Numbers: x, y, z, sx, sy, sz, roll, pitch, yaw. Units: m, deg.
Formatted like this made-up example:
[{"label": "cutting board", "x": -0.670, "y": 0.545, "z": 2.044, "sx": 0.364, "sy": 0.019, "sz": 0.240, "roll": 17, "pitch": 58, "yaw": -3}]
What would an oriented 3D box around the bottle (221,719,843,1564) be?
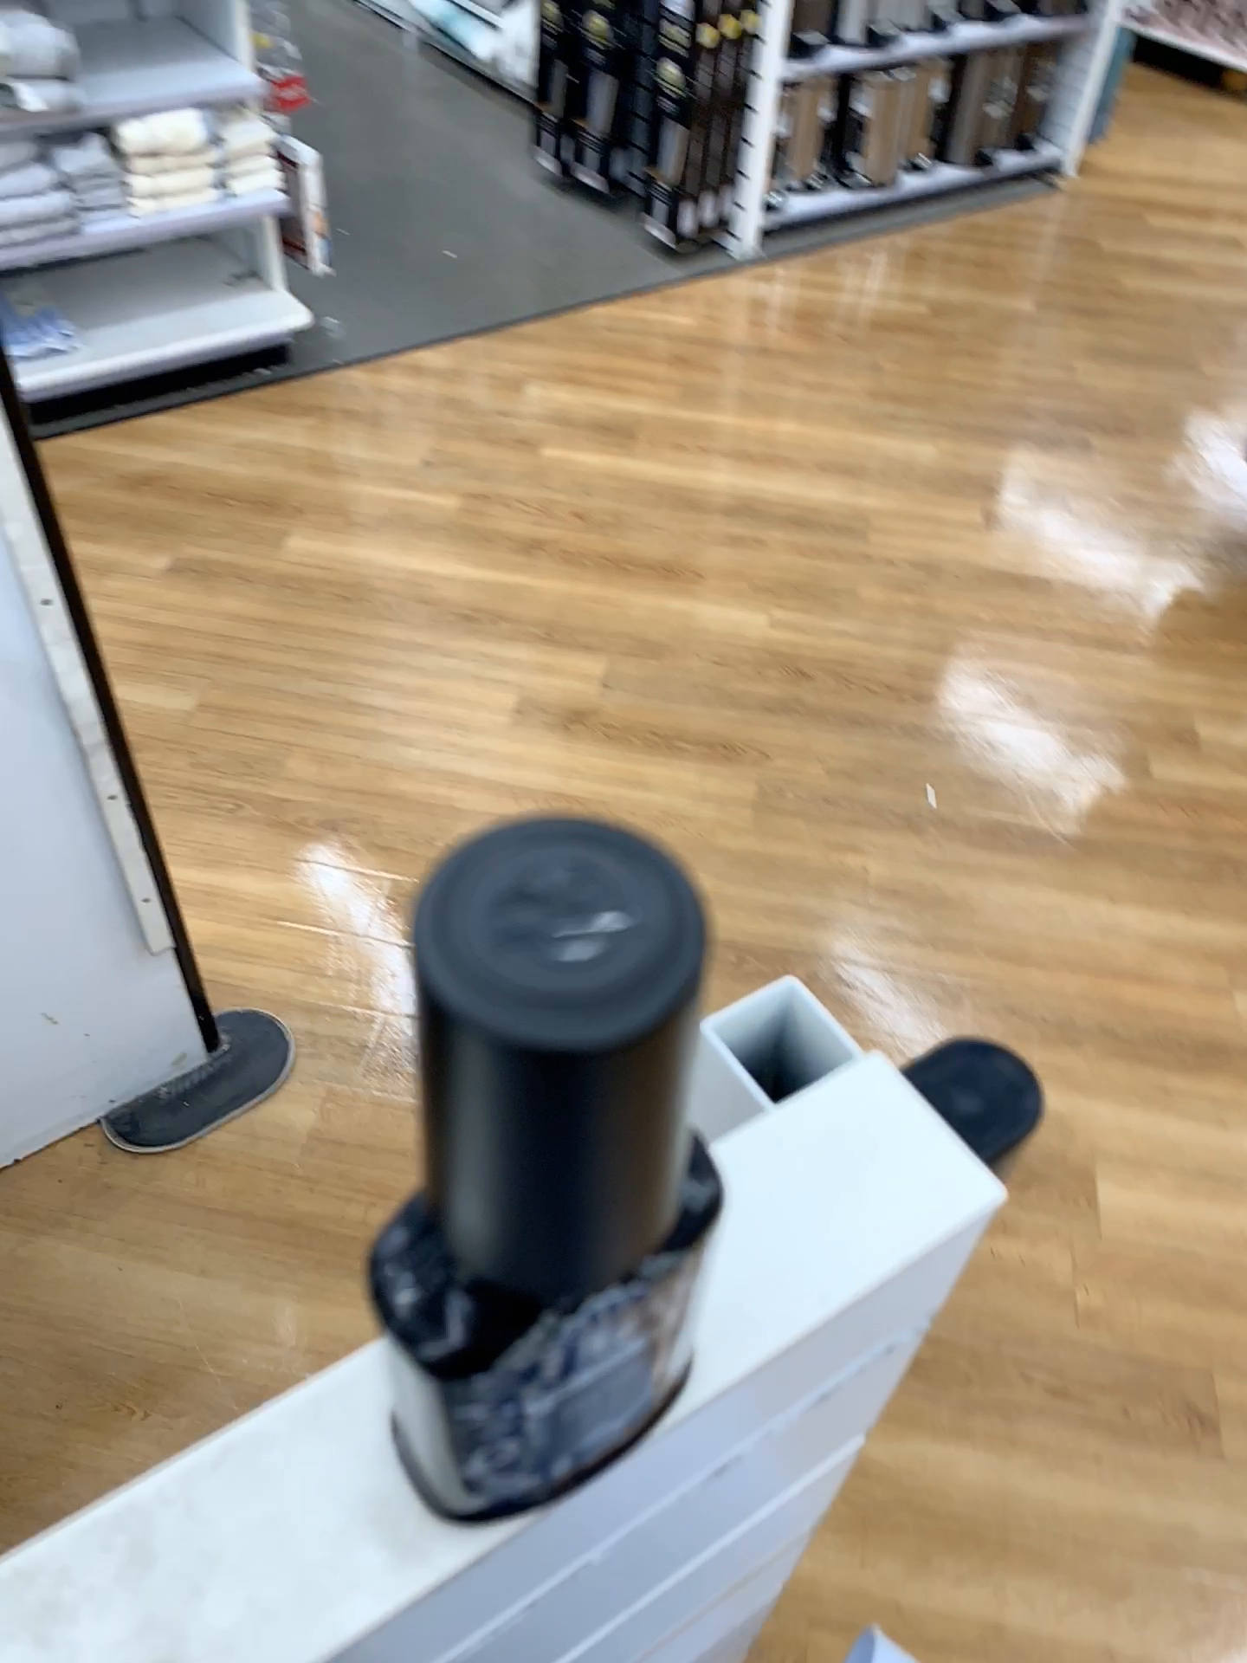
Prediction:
[{"label": "bottle", "x": -0.012, "y": 0.049, "z": 0.167, "sx": 0.050, "sy": 0.123, "sz": 0.032, "roll": -24, "pitch": 53, "yaw": -24}]
